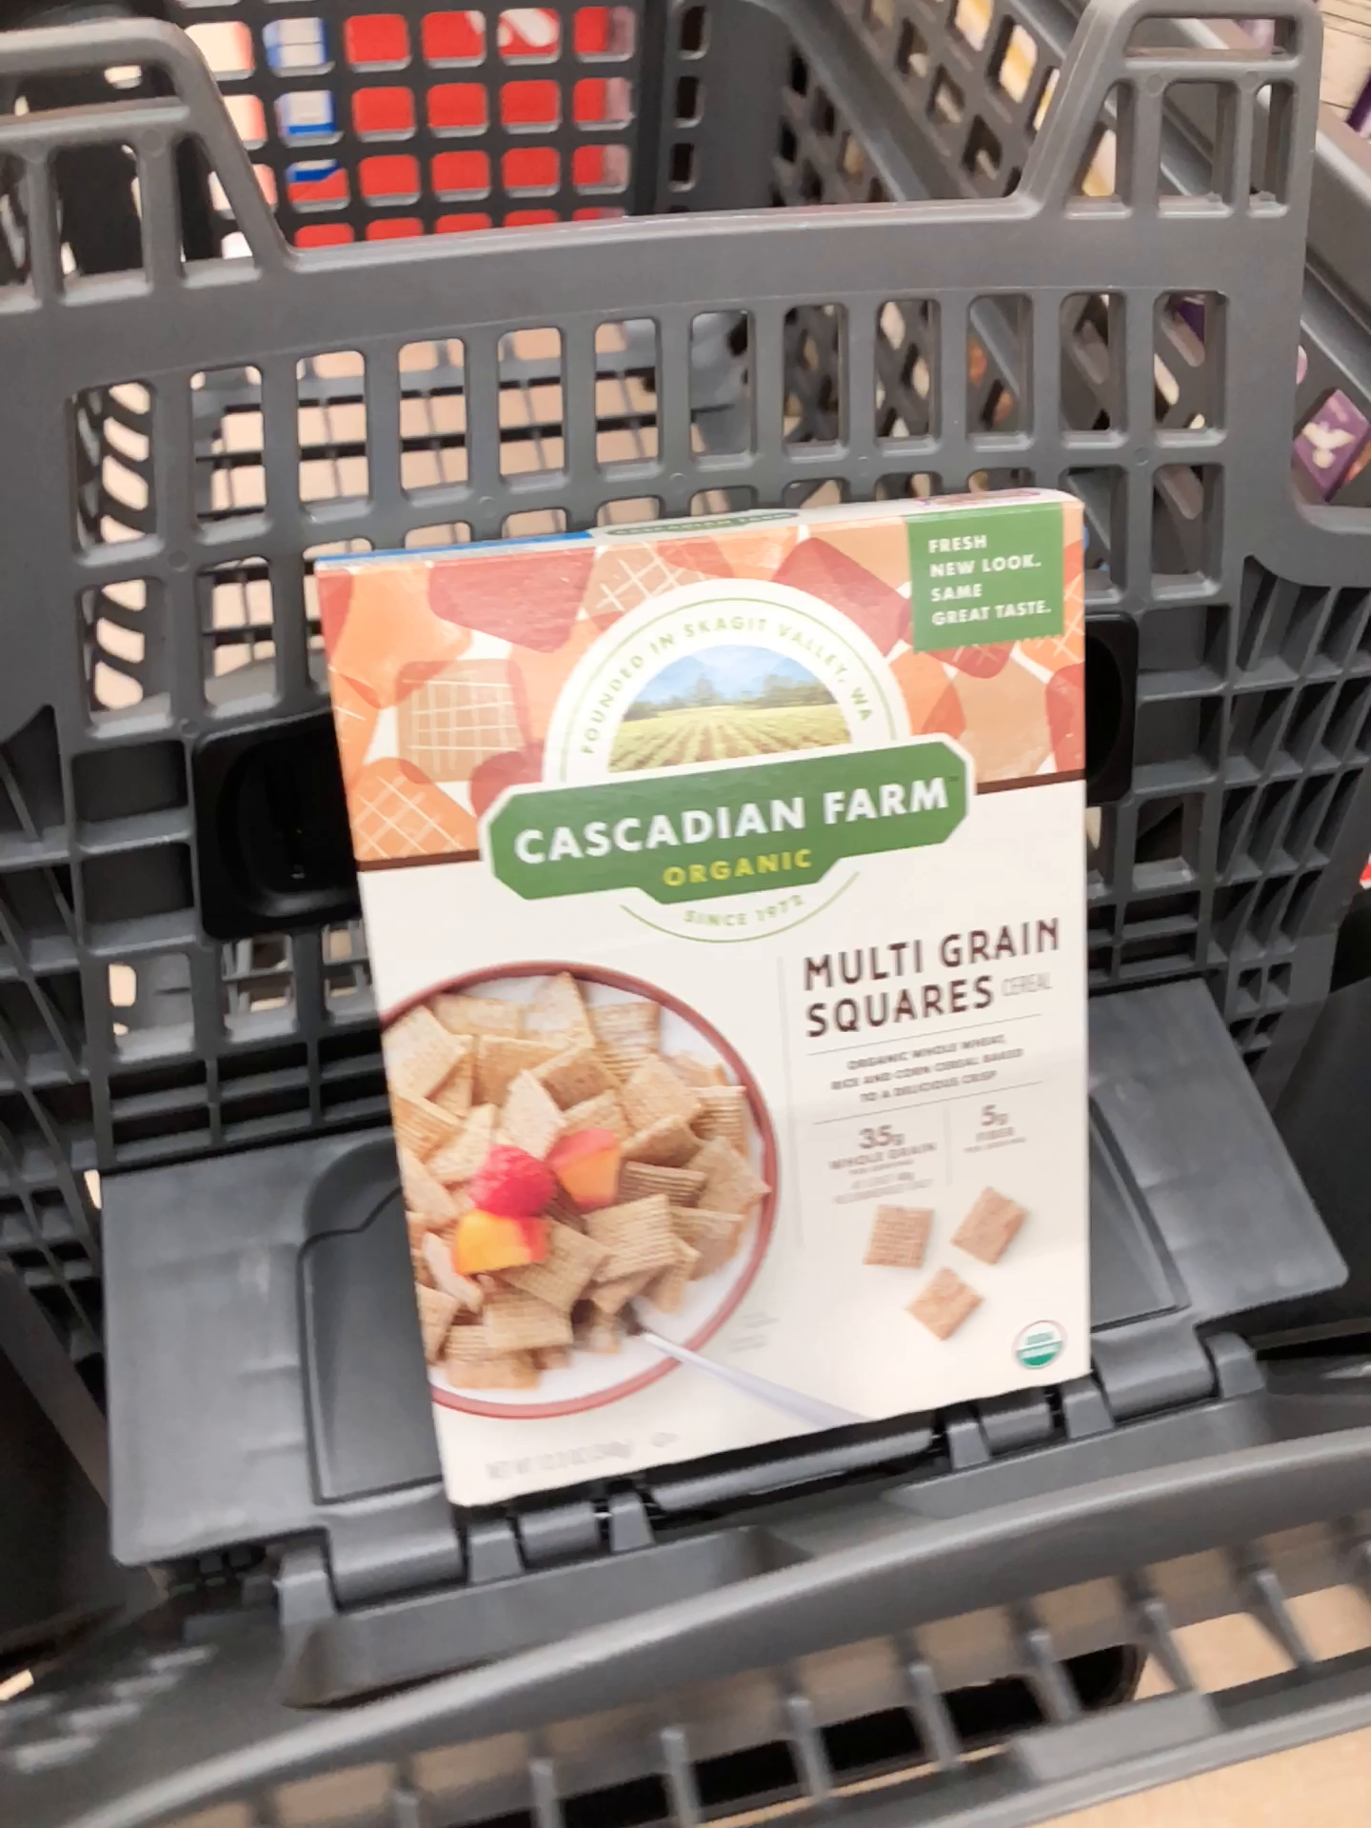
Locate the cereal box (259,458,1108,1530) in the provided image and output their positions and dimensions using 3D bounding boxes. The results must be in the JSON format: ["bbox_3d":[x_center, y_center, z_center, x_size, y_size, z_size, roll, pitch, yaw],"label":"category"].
[{"bbox_3d":[0.008,0.019,0.418,0.200,0.260,0.060,-9,17,-11],"label":"cereal box"}]
